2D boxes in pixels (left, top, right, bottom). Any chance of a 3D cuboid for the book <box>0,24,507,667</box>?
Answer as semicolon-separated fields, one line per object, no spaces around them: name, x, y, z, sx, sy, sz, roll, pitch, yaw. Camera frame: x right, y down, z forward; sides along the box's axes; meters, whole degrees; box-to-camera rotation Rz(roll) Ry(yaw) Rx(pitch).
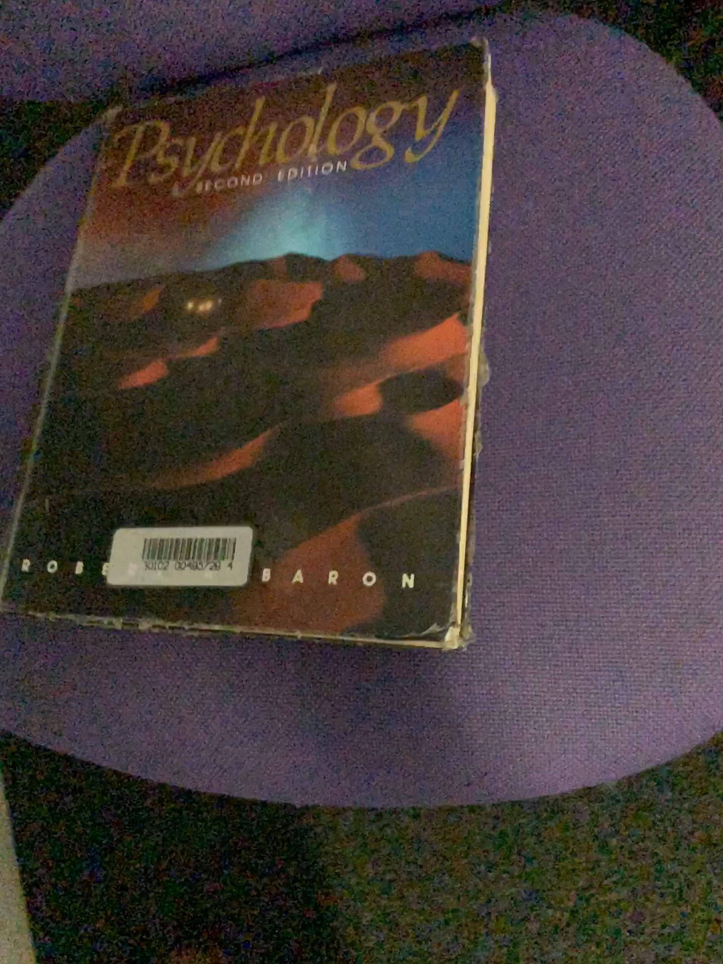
book;-0.055;-0.066;0.356;0.231;0.040;0.281;0;74;19
